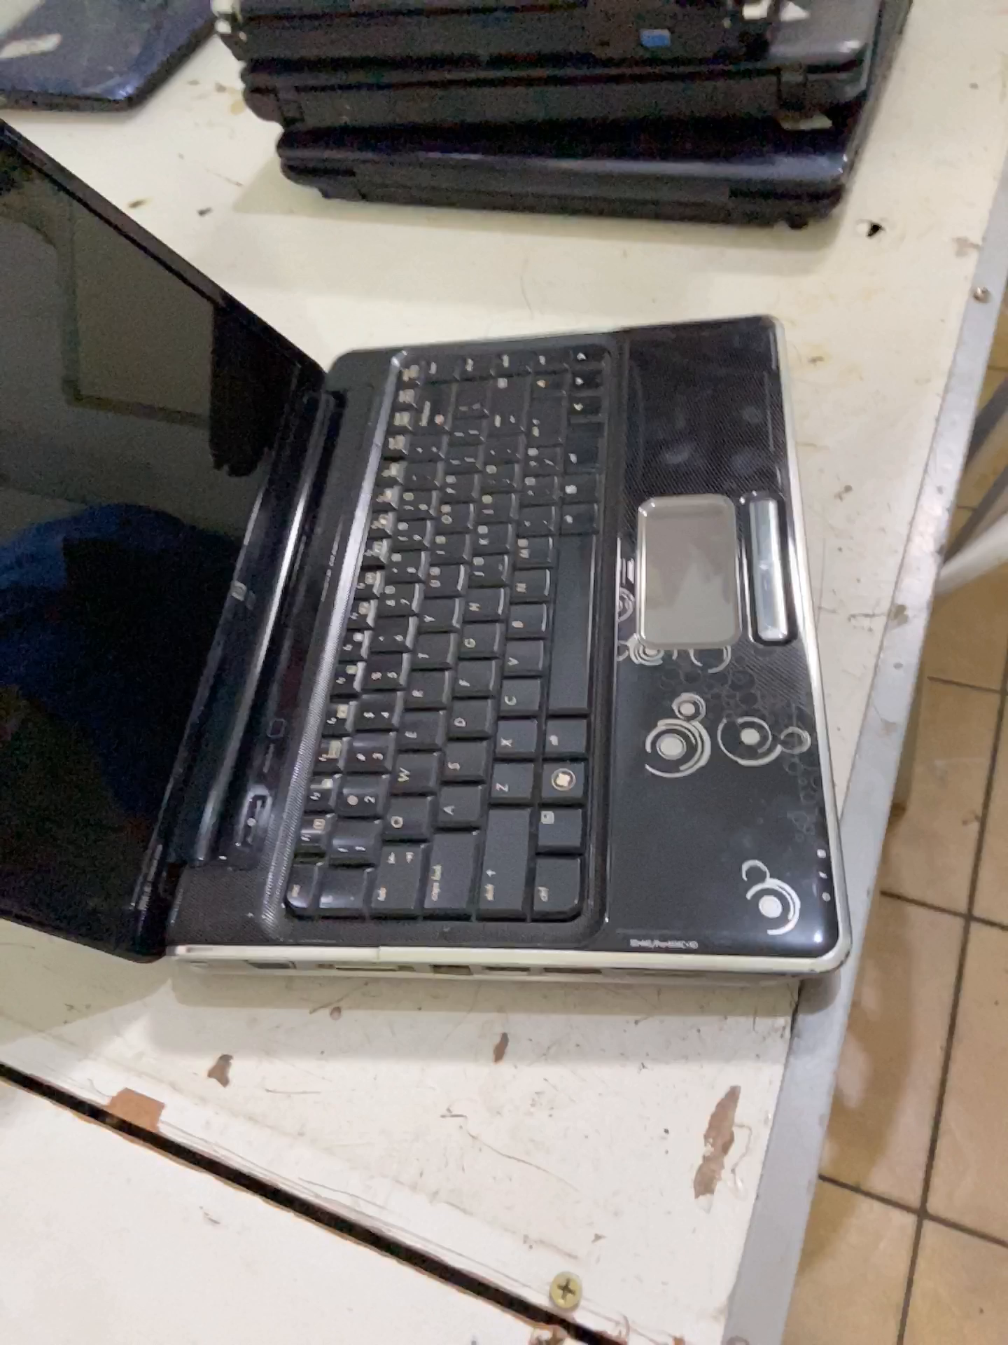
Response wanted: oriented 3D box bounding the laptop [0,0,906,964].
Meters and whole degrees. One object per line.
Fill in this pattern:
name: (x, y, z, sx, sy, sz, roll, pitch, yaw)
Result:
laptop: (-0.080, -0.090, 0.387, 0.372, 0.176, 0.332, -2, 54, 11)
